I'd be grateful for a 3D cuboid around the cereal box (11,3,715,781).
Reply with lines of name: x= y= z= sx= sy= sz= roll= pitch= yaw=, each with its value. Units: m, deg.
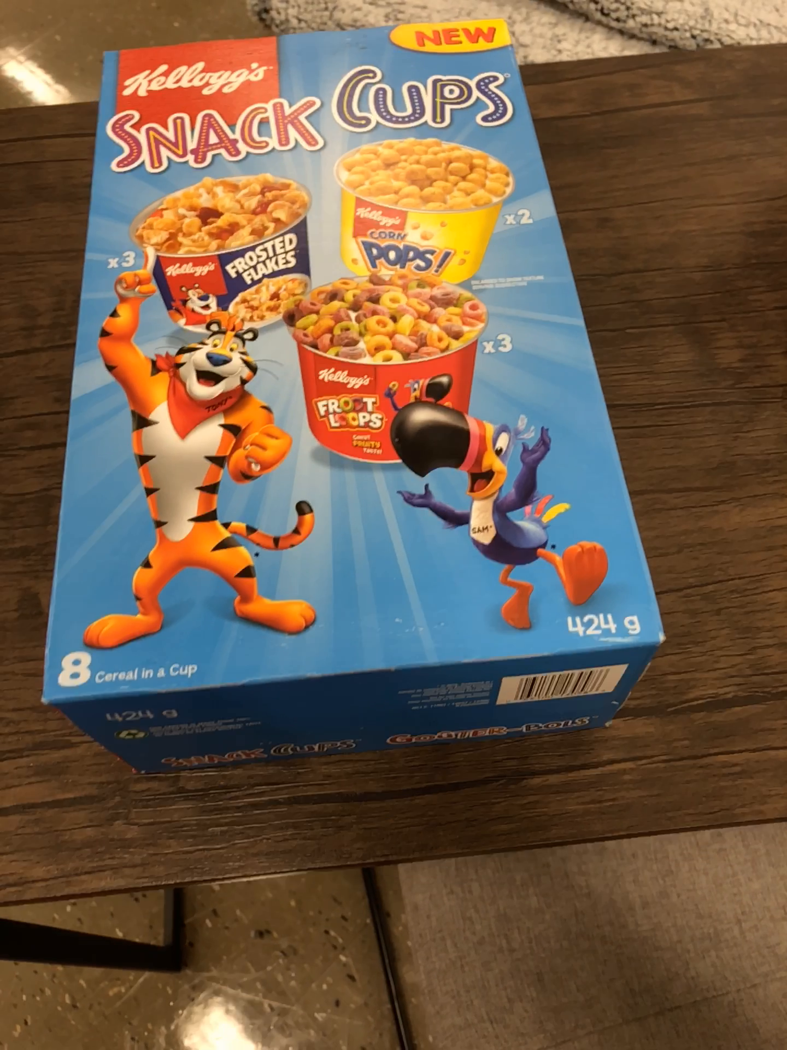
cereal box: x=-0.023 y=-0.074 z=0.391 sx=0.220 sy=0.100 sz=0.330 roll=-5 pitch=63 yaw=-1
